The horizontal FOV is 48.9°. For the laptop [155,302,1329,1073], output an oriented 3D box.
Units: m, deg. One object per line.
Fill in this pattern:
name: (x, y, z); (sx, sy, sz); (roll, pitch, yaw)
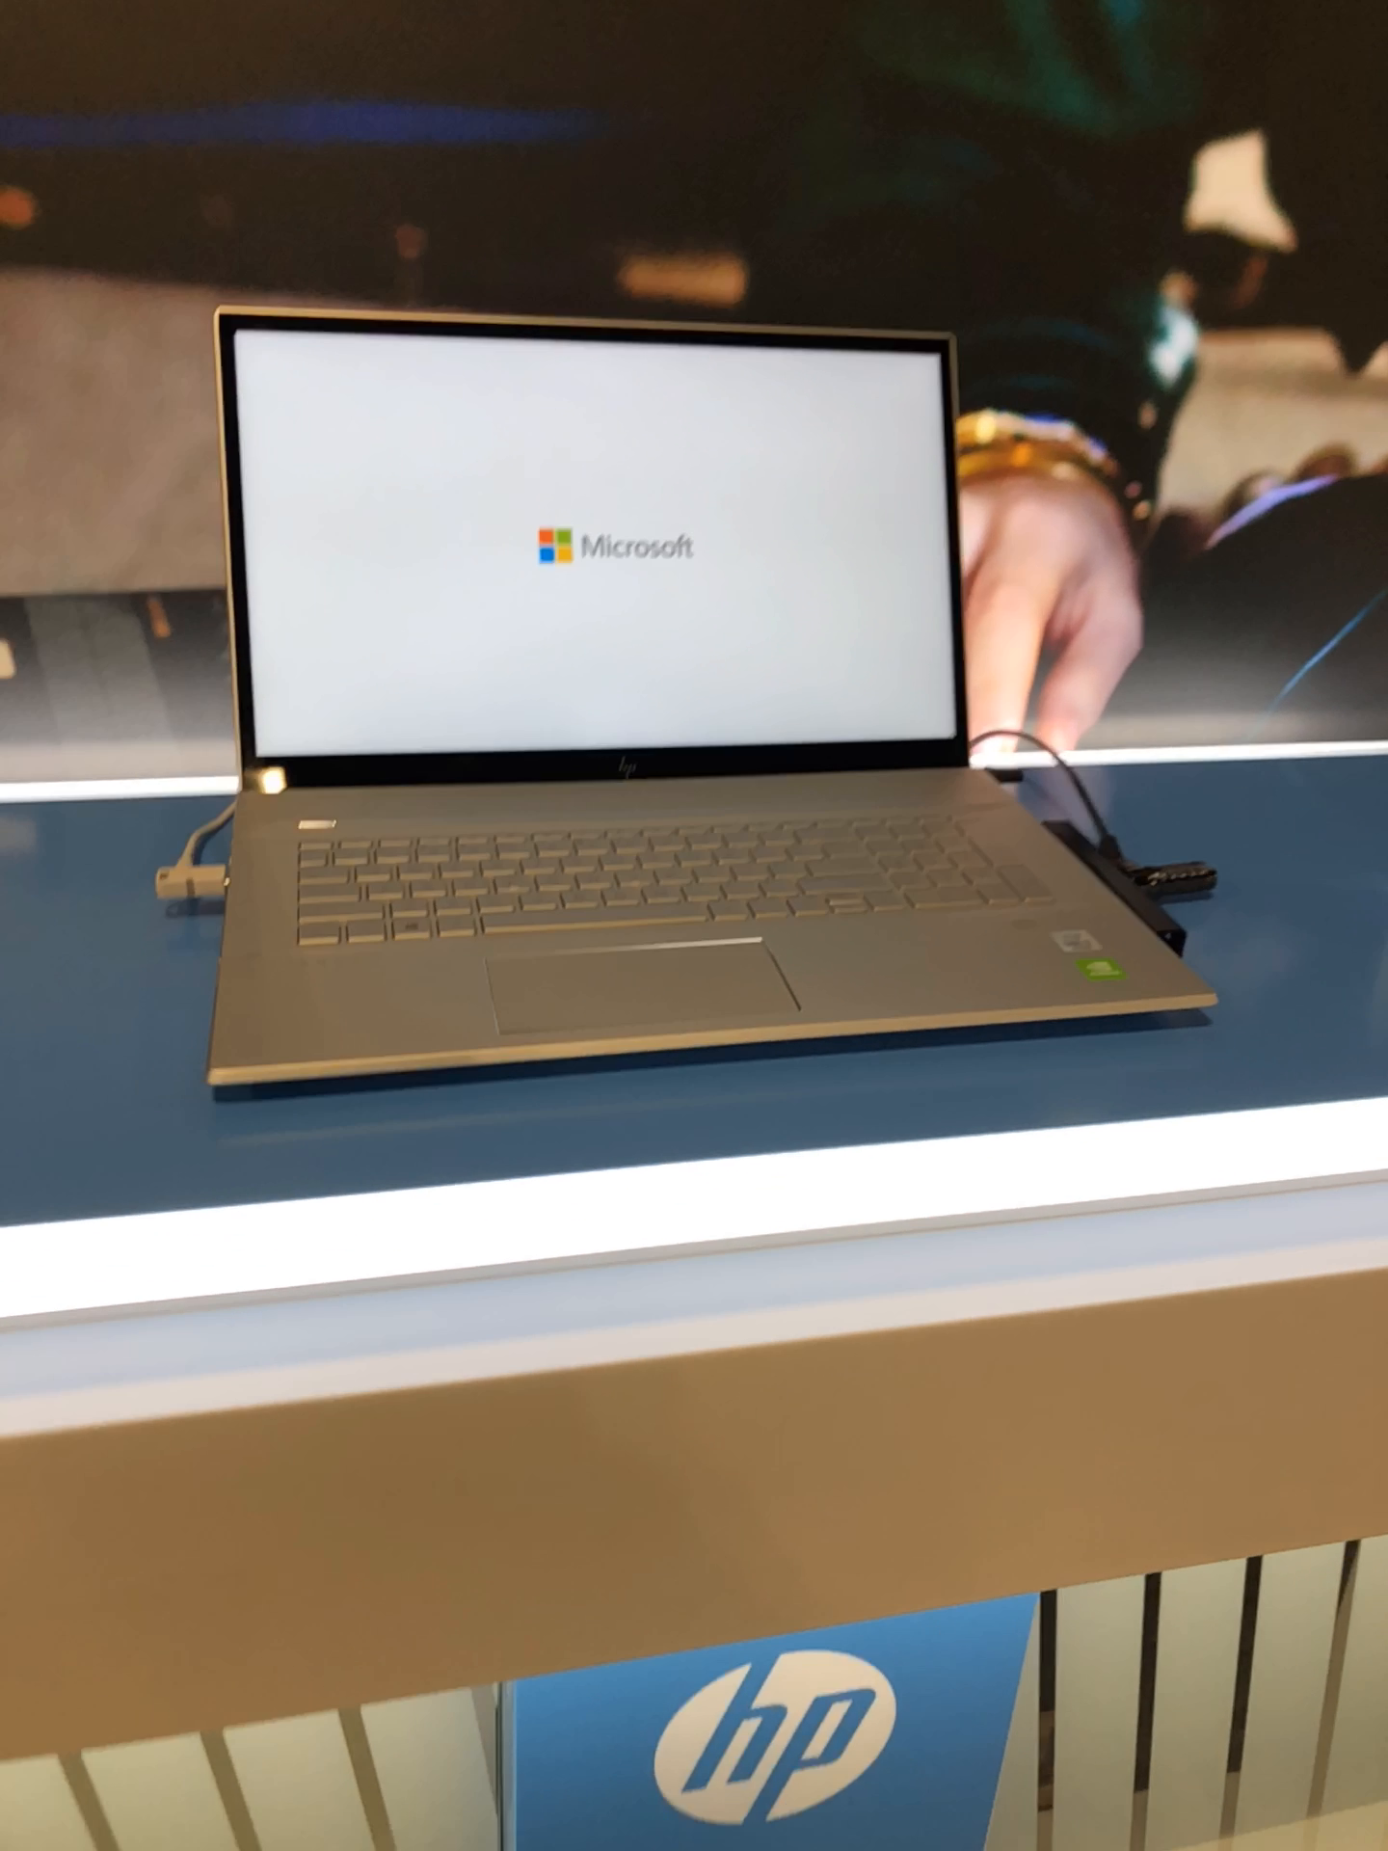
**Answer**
laptop: (-0.014, -0.147, 0.714); (0.400, 0.217, 0.385); (-3, 28, -12)
